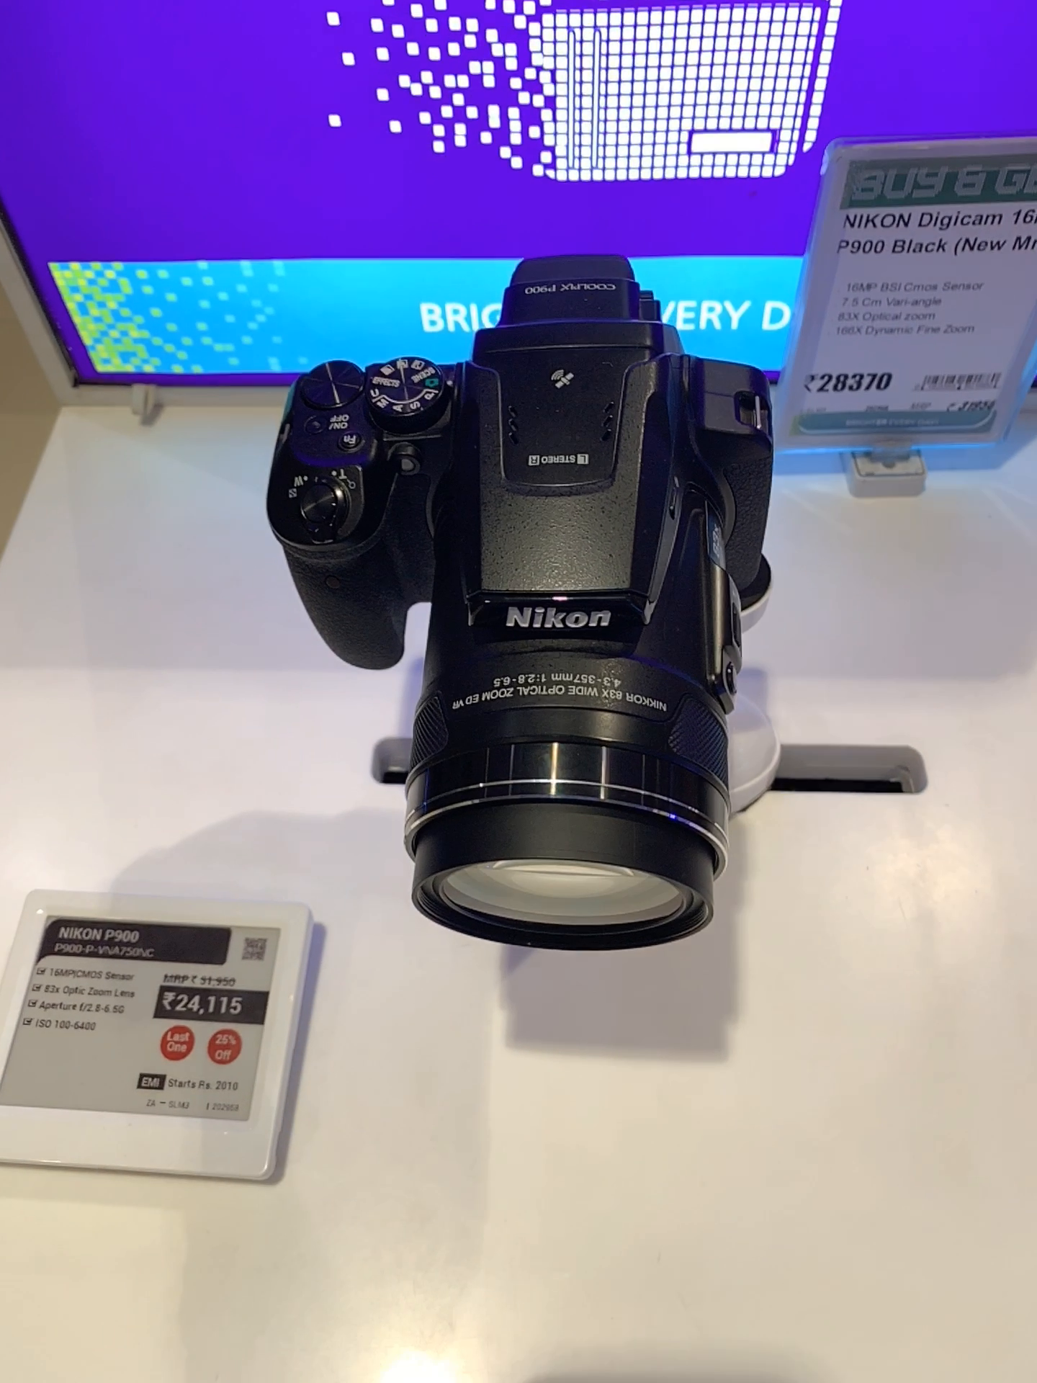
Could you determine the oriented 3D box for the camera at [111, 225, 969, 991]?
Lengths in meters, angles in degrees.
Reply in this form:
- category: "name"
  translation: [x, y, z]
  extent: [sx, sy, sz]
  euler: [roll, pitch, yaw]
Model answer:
- category: "camera"
  translation: [0.006, -0.024, 0.257]
  extent: [0.140, 0.090, 0.160]
  euler: [1, 56, 2]
